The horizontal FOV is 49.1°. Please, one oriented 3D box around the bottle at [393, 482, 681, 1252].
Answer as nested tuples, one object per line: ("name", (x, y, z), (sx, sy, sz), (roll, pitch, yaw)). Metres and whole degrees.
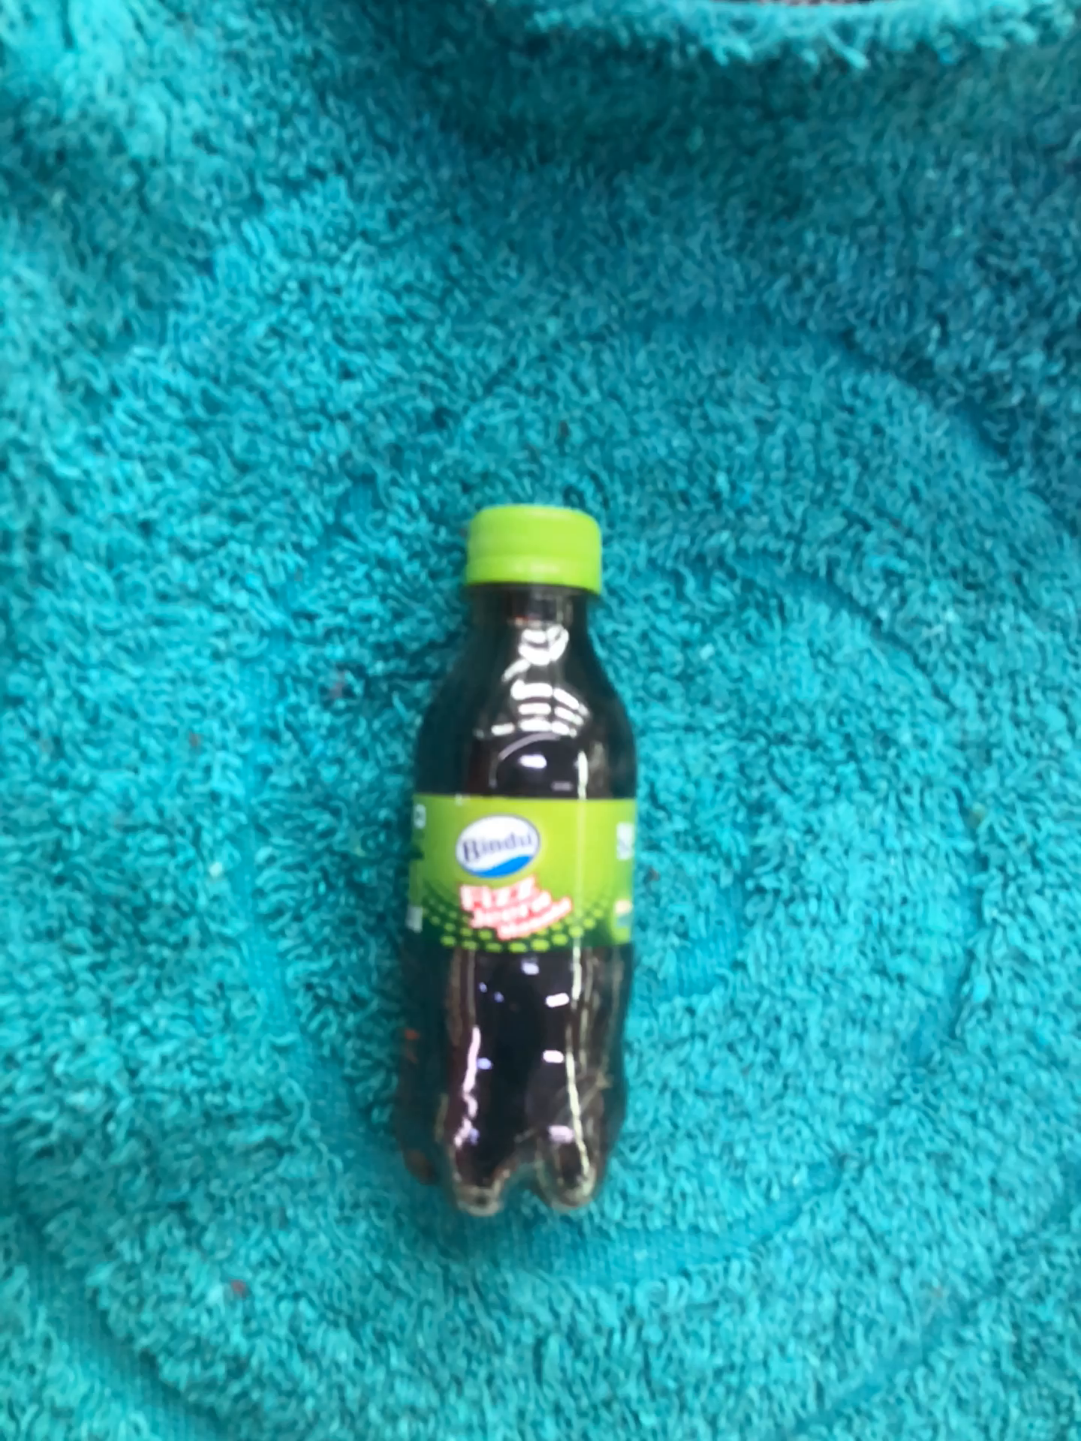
("bottle", (-0.003, 0.029, 0.256), (0.050, 0.050, 0.150), (2, 93, -6))
